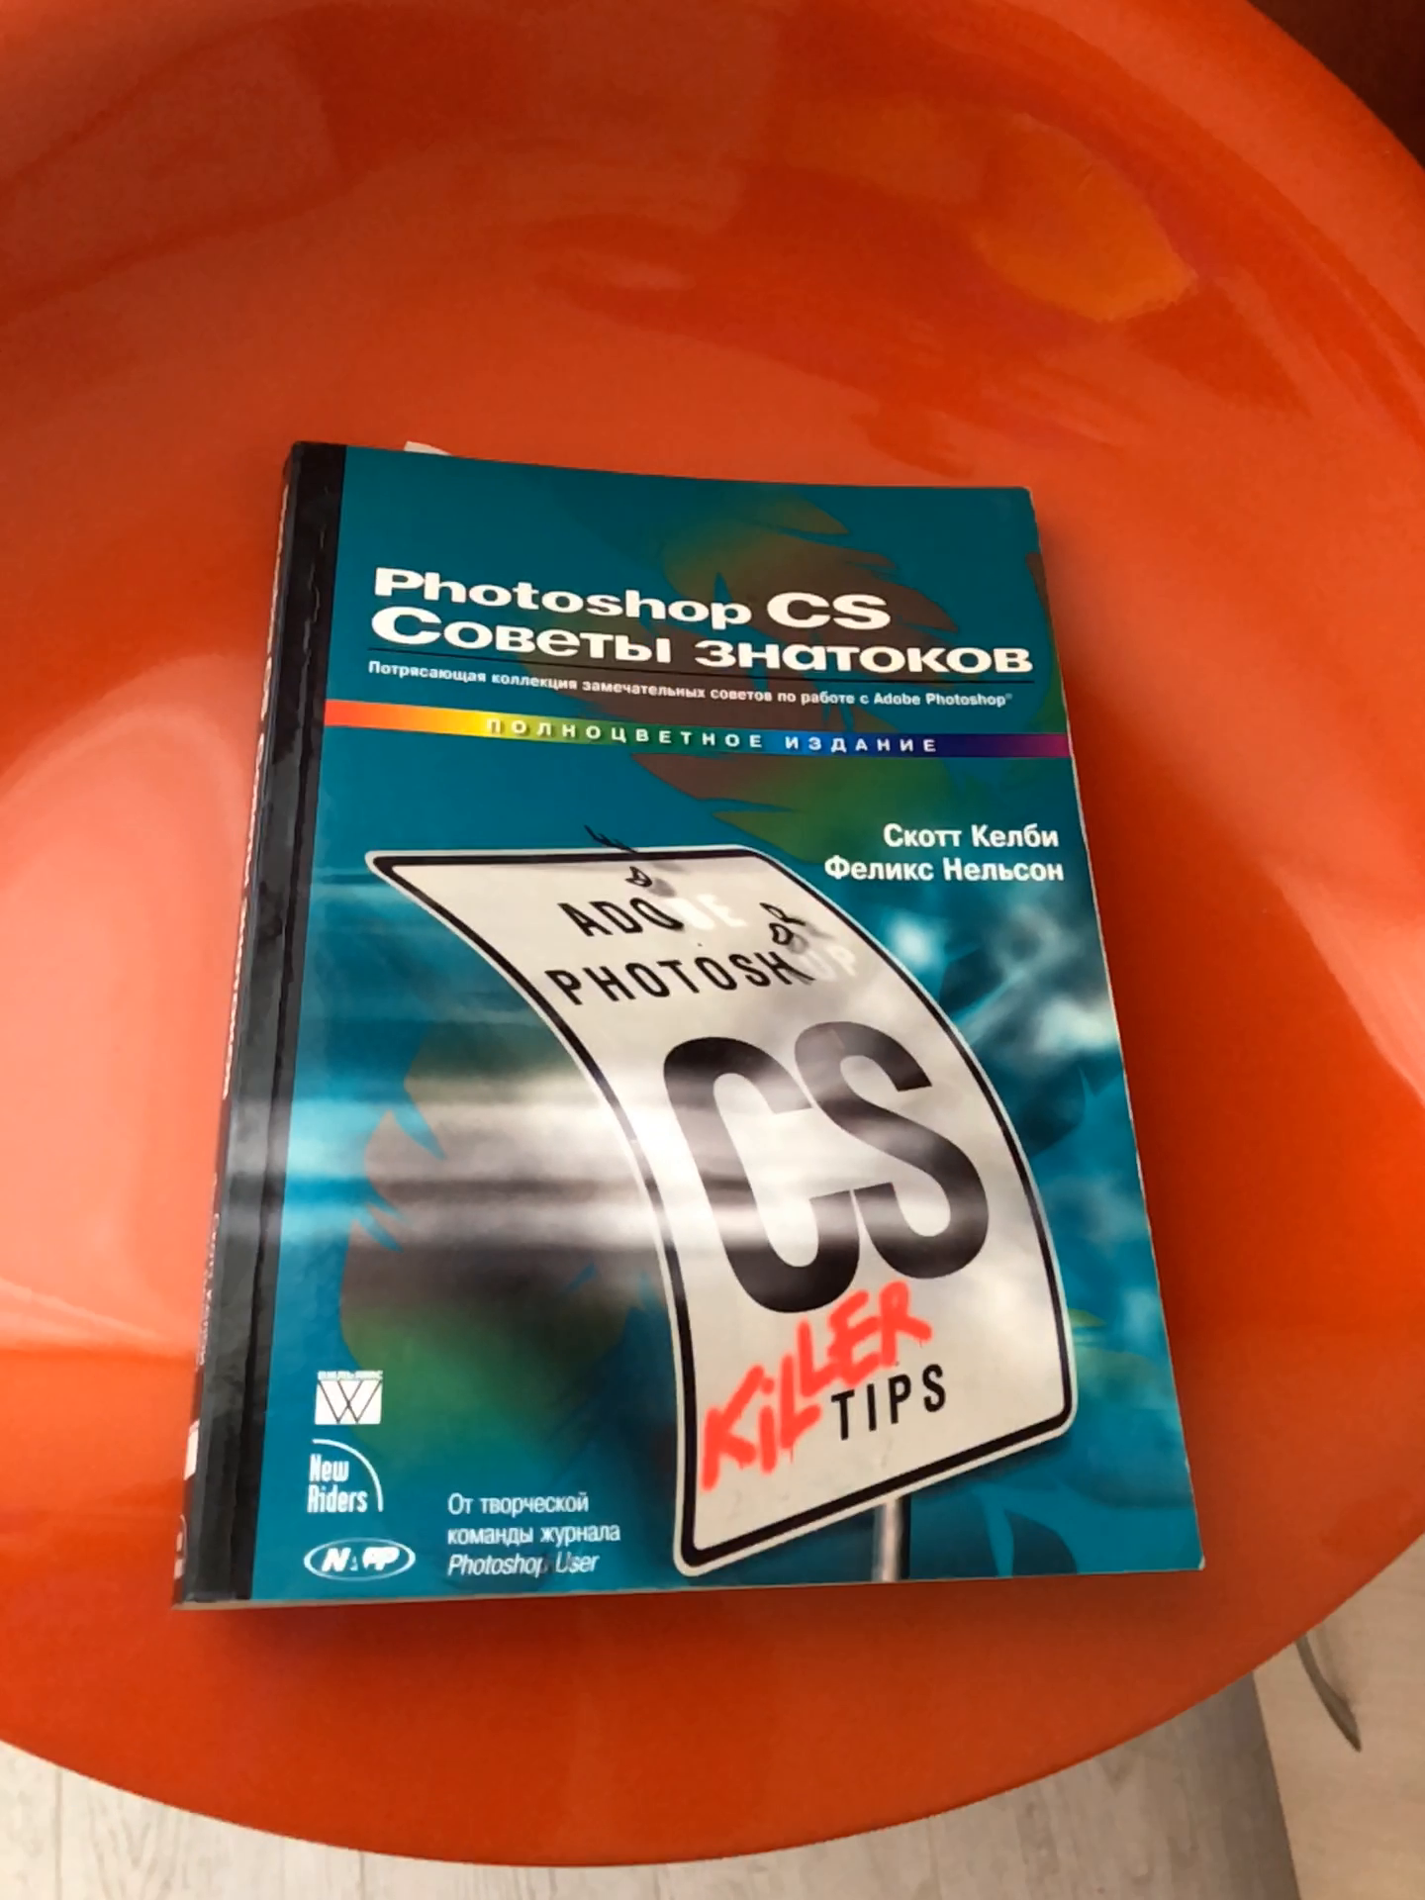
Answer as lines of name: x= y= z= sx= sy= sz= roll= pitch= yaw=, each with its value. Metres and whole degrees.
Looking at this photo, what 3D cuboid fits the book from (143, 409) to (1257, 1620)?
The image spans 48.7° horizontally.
book: x=-0.005 y=-0.001 z=0.309 sx=0.174 sy=0.030 sz=0.236 roll=1 pitch=63 yaw=-9
